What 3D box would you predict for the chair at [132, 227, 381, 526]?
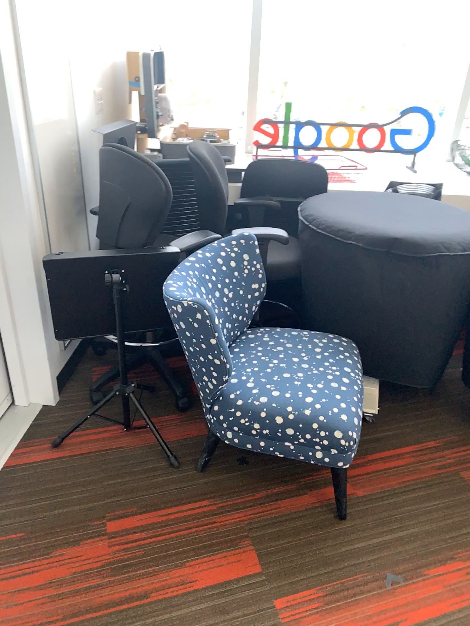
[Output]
[{"bbox_3d":[0.155,0.159,2.048,0.771,0.686,1.005,10,28,13],"label":"chair"}]
